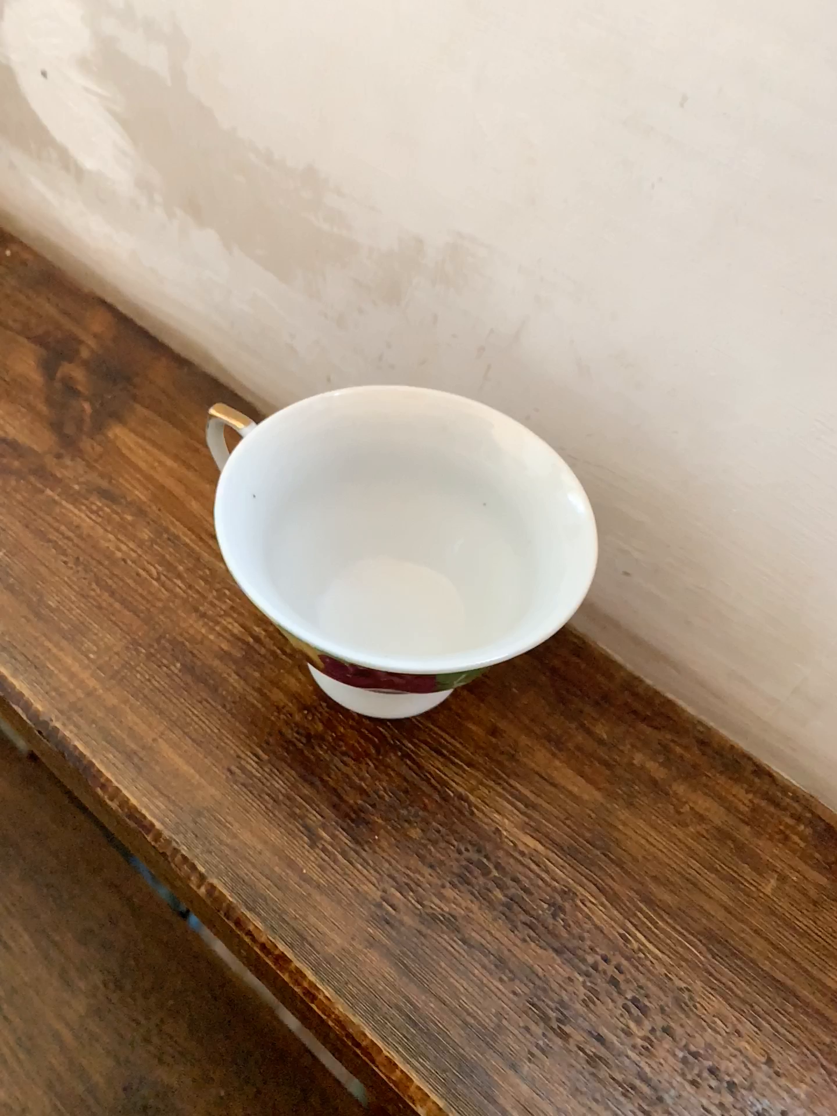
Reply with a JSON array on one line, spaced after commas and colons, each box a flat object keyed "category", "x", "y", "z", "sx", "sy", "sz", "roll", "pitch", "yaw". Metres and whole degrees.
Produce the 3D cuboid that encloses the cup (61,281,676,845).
[{"category": "cup", "x": -0.014, "y": -0.006, "z": 0.238, "sx": 0.123, "sy": 0.058, "sz": 0.092, "roll": 34, "pitch": 54, "yaw": 19}]
